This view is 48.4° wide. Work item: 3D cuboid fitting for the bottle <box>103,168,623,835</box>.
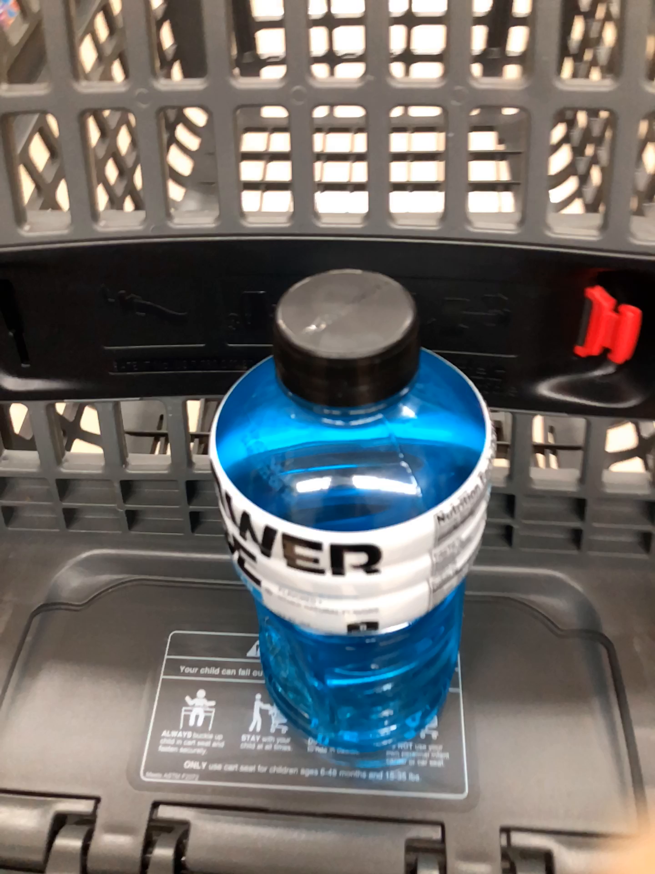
[{"bbox_3d":[0.011,0.037,0.272,0.100,0.220,0.100,-2,45,2],"label":"bottle"}]
